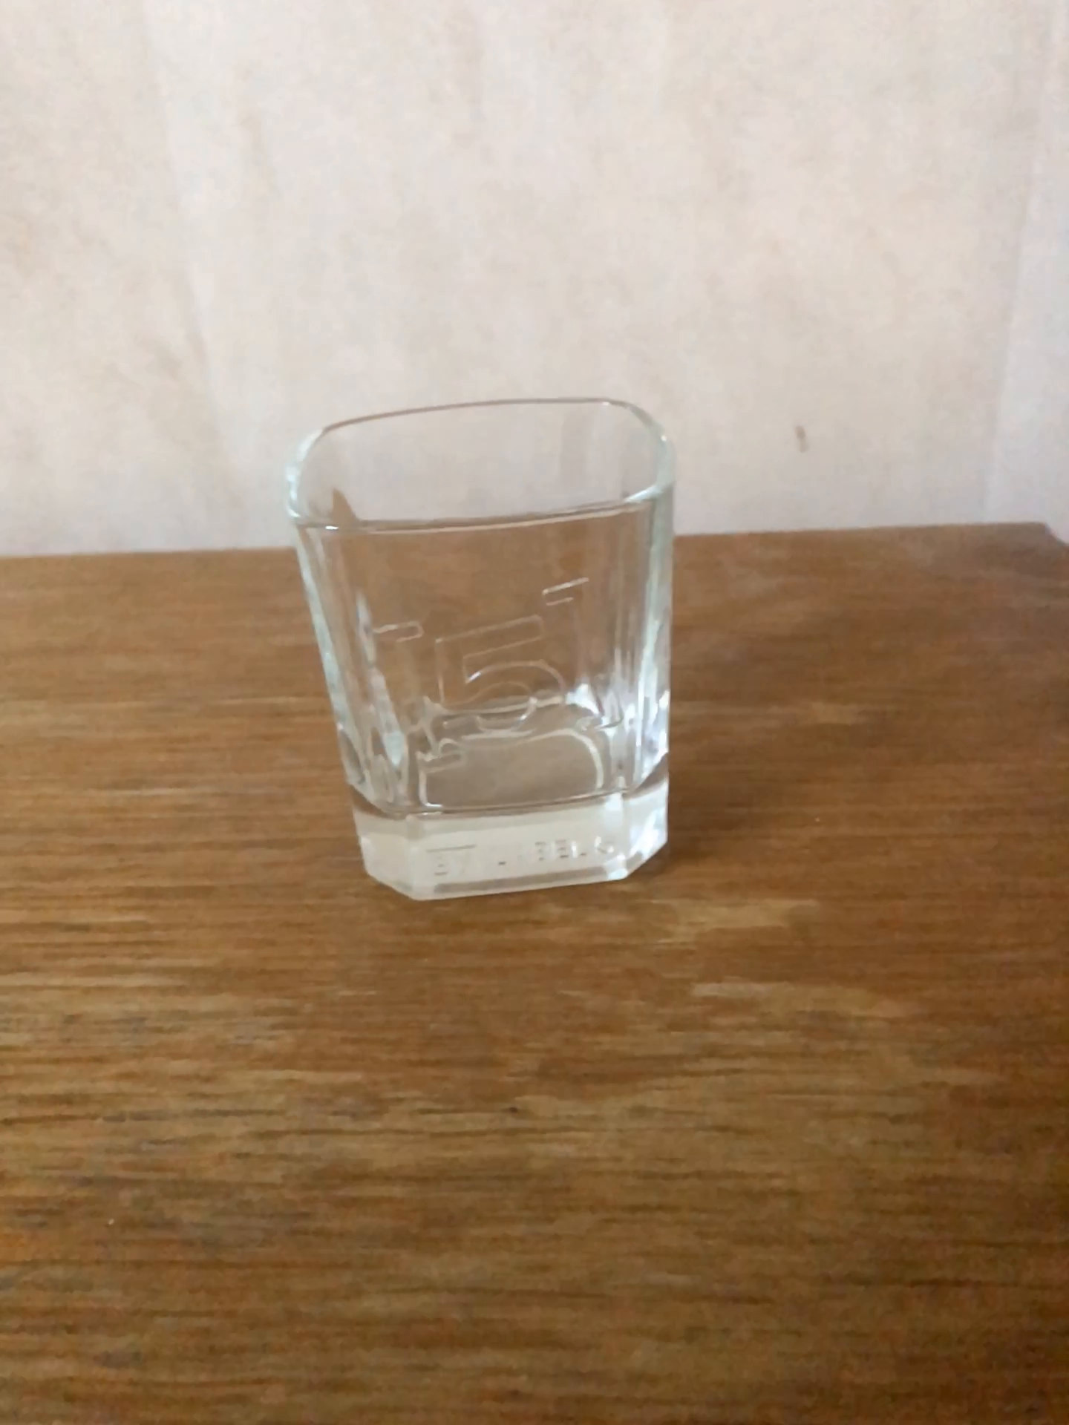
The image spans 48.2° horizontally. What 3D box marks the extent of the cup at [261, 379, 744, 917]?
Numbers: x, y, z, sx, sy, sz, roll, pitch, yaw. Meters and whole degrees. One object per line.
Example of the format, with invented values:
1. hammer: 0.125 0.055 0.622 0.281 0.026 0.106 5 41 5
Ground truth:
1. cup: -0.005 -0.015 0.220 0.070 0.070 0.070 -2 30 1
